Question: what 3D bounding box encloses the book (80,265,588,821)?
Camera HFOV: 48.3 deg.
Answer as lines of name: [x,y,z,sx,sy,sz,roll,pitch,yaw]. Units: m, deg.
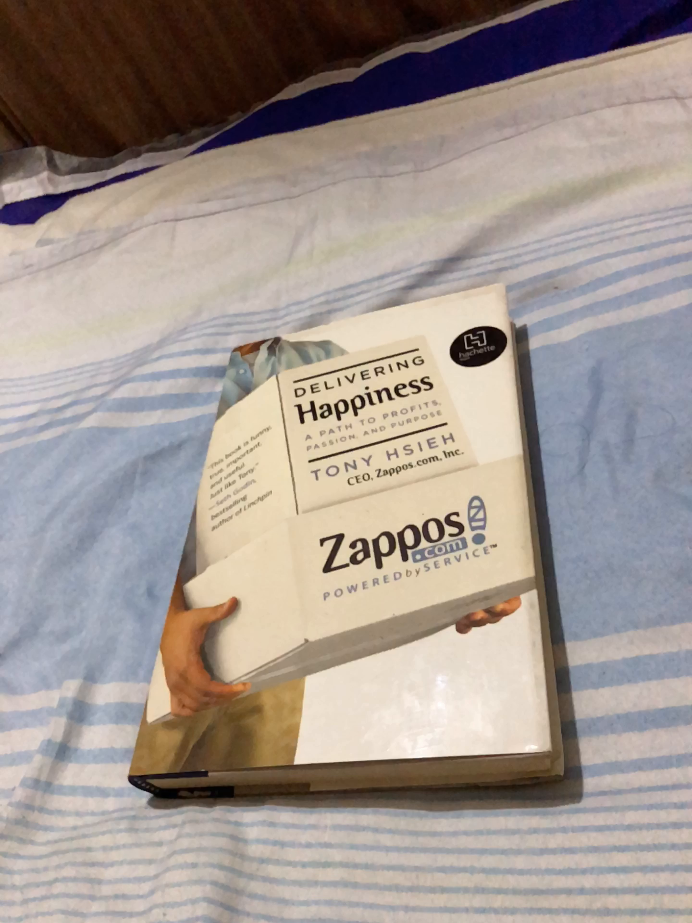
book: [0.002,0.024,0.346,0.170,0.050,0.241,-10,47,18]
